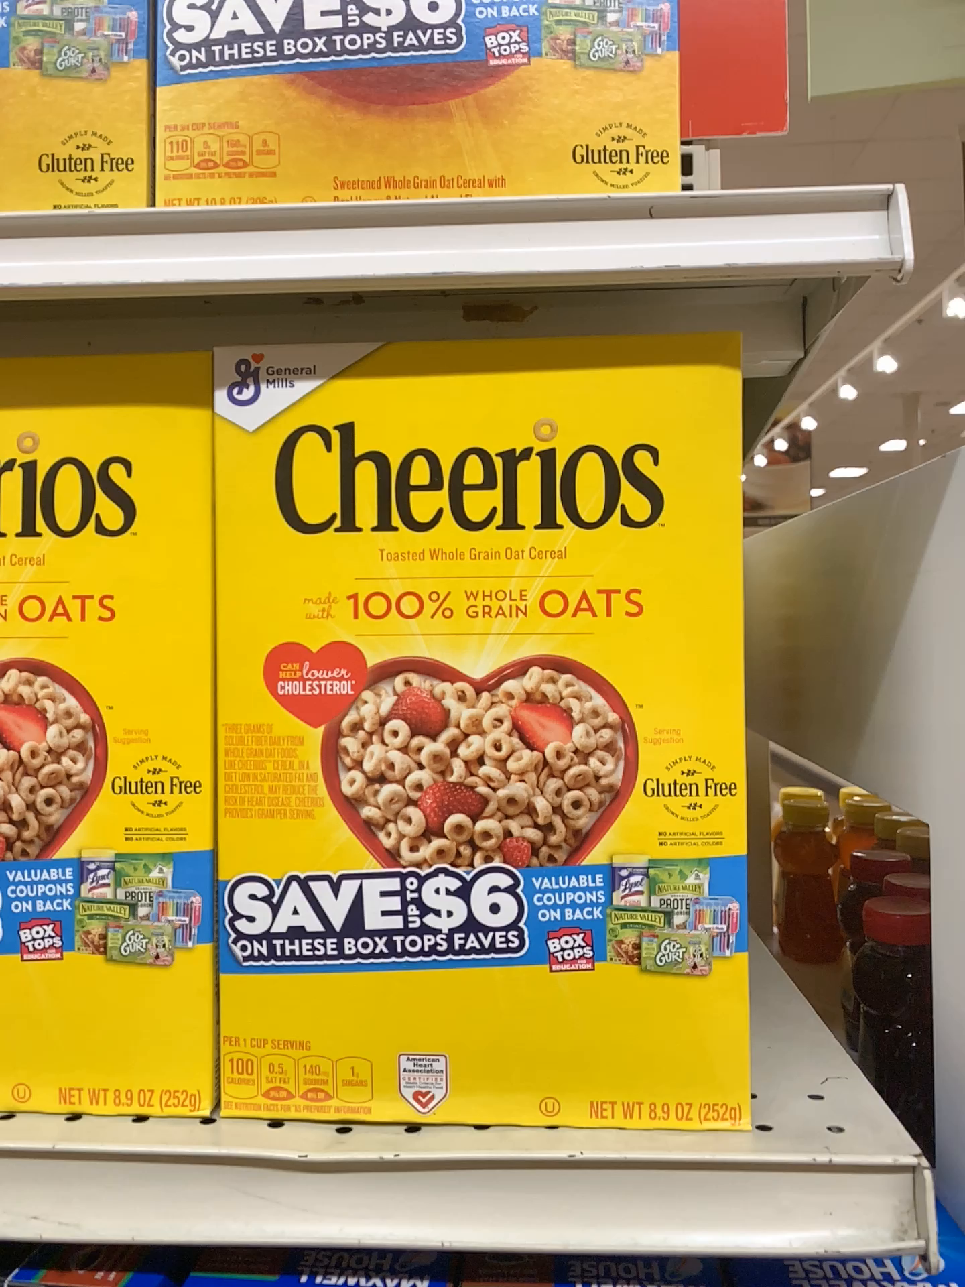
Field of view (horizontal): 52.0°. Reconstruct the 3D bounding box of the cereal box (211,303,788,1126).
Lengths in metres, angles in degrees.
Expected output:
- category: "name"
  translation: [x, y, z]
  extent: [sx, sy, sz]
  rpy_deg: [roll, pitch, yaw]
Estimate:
- category: "cereal box"
  translation: [0.005, 0.024, 0.356]
  extent: [0.190, 0.270, 0.050]
  rpy_deg: [-1, 0, 4]
